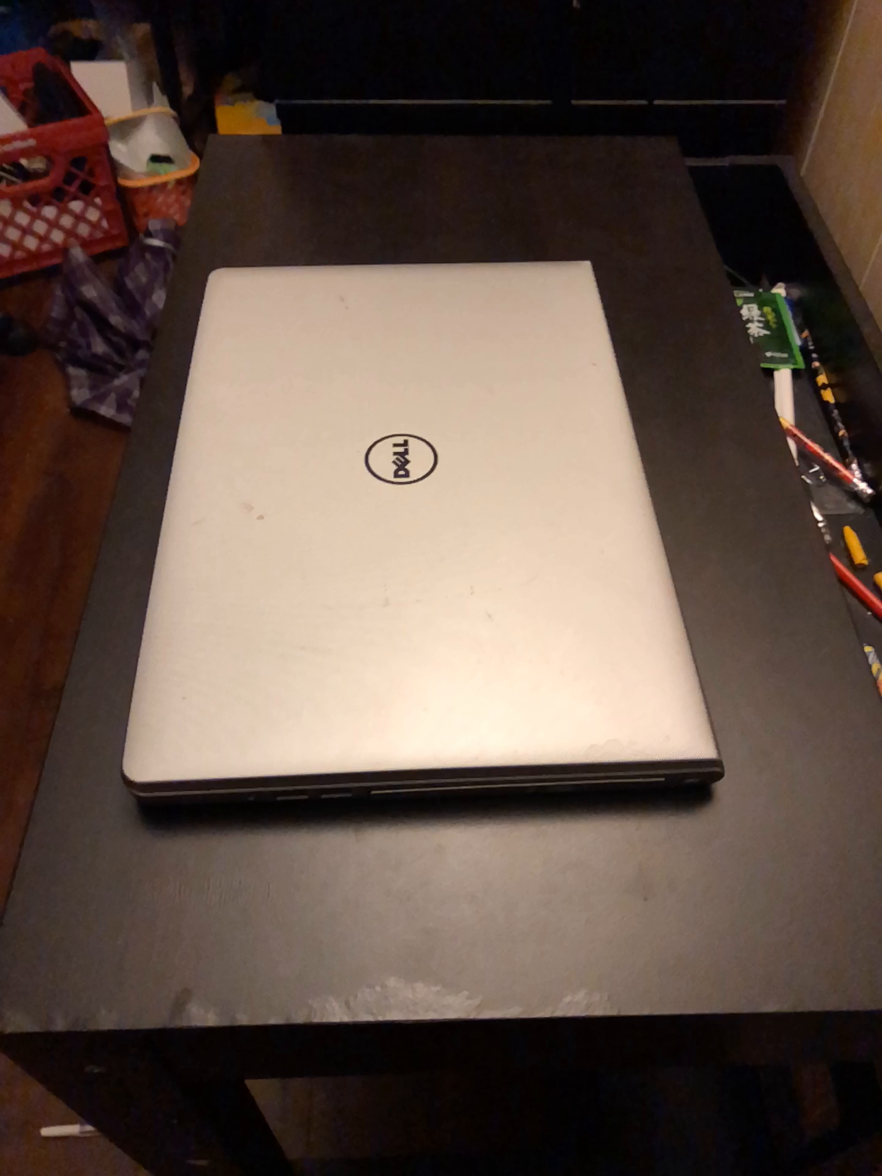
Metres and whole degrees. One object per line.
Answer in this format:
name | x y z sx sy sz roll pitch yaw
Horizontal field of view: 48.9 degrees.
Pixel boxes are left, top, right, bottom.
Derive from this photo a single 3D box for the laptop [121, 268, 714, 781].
laptop | -0.016 -0.067 0.528 0.249 0.003 0.373 -2 50 -2
